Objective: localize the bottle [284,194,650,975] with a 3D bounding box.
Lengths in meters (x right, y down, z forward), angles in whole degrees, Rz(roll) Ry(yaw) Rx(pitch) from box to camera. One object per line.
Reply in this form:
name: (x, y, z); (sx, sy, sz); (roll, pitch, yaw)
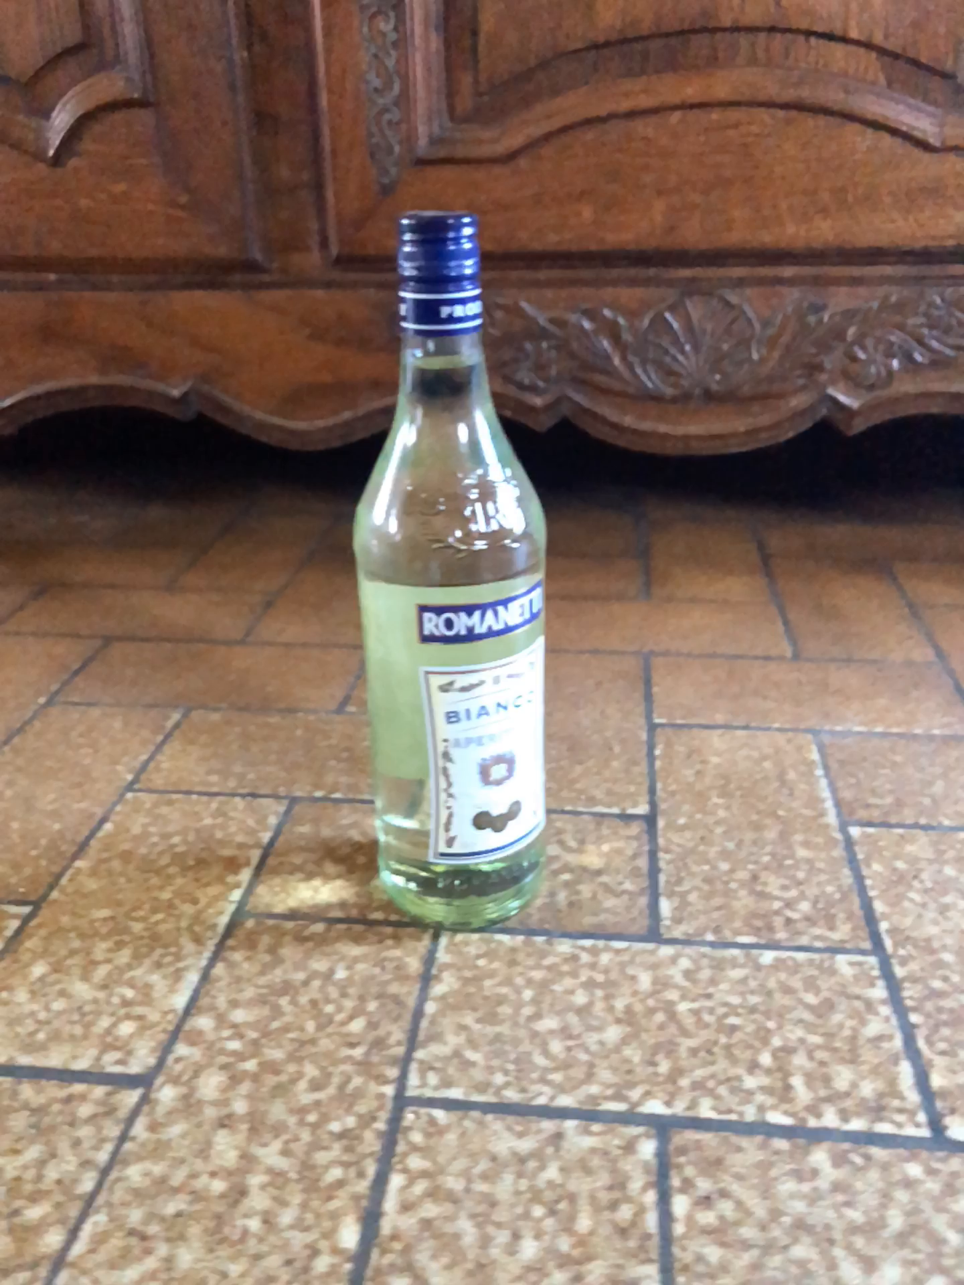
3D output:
bottle: (-0.005, -0.024, 0.451); (0.100, 0.298, 0.100); (-1, 24, 1)
